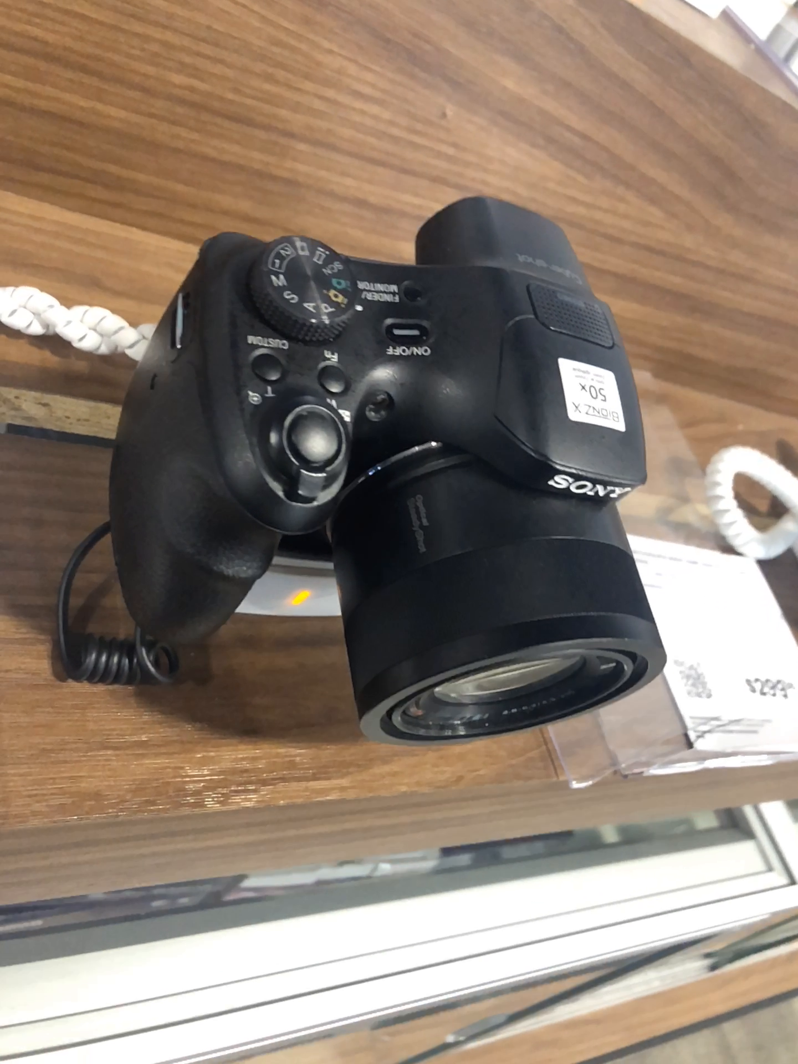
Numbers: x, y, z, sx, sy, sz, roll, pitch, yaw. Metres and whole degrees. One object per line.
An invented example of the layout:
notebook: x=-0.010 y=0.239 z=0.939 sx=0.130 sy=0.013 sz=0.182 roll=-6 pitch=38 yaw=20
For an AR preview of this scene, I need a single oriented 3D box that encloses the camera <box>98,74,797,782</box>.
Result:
camera: x=0.009 y=-0.015 z=0.207 sx=0.125 sy=0.084 sz=0.110 roll=7 pitch=50 yaw=-34
